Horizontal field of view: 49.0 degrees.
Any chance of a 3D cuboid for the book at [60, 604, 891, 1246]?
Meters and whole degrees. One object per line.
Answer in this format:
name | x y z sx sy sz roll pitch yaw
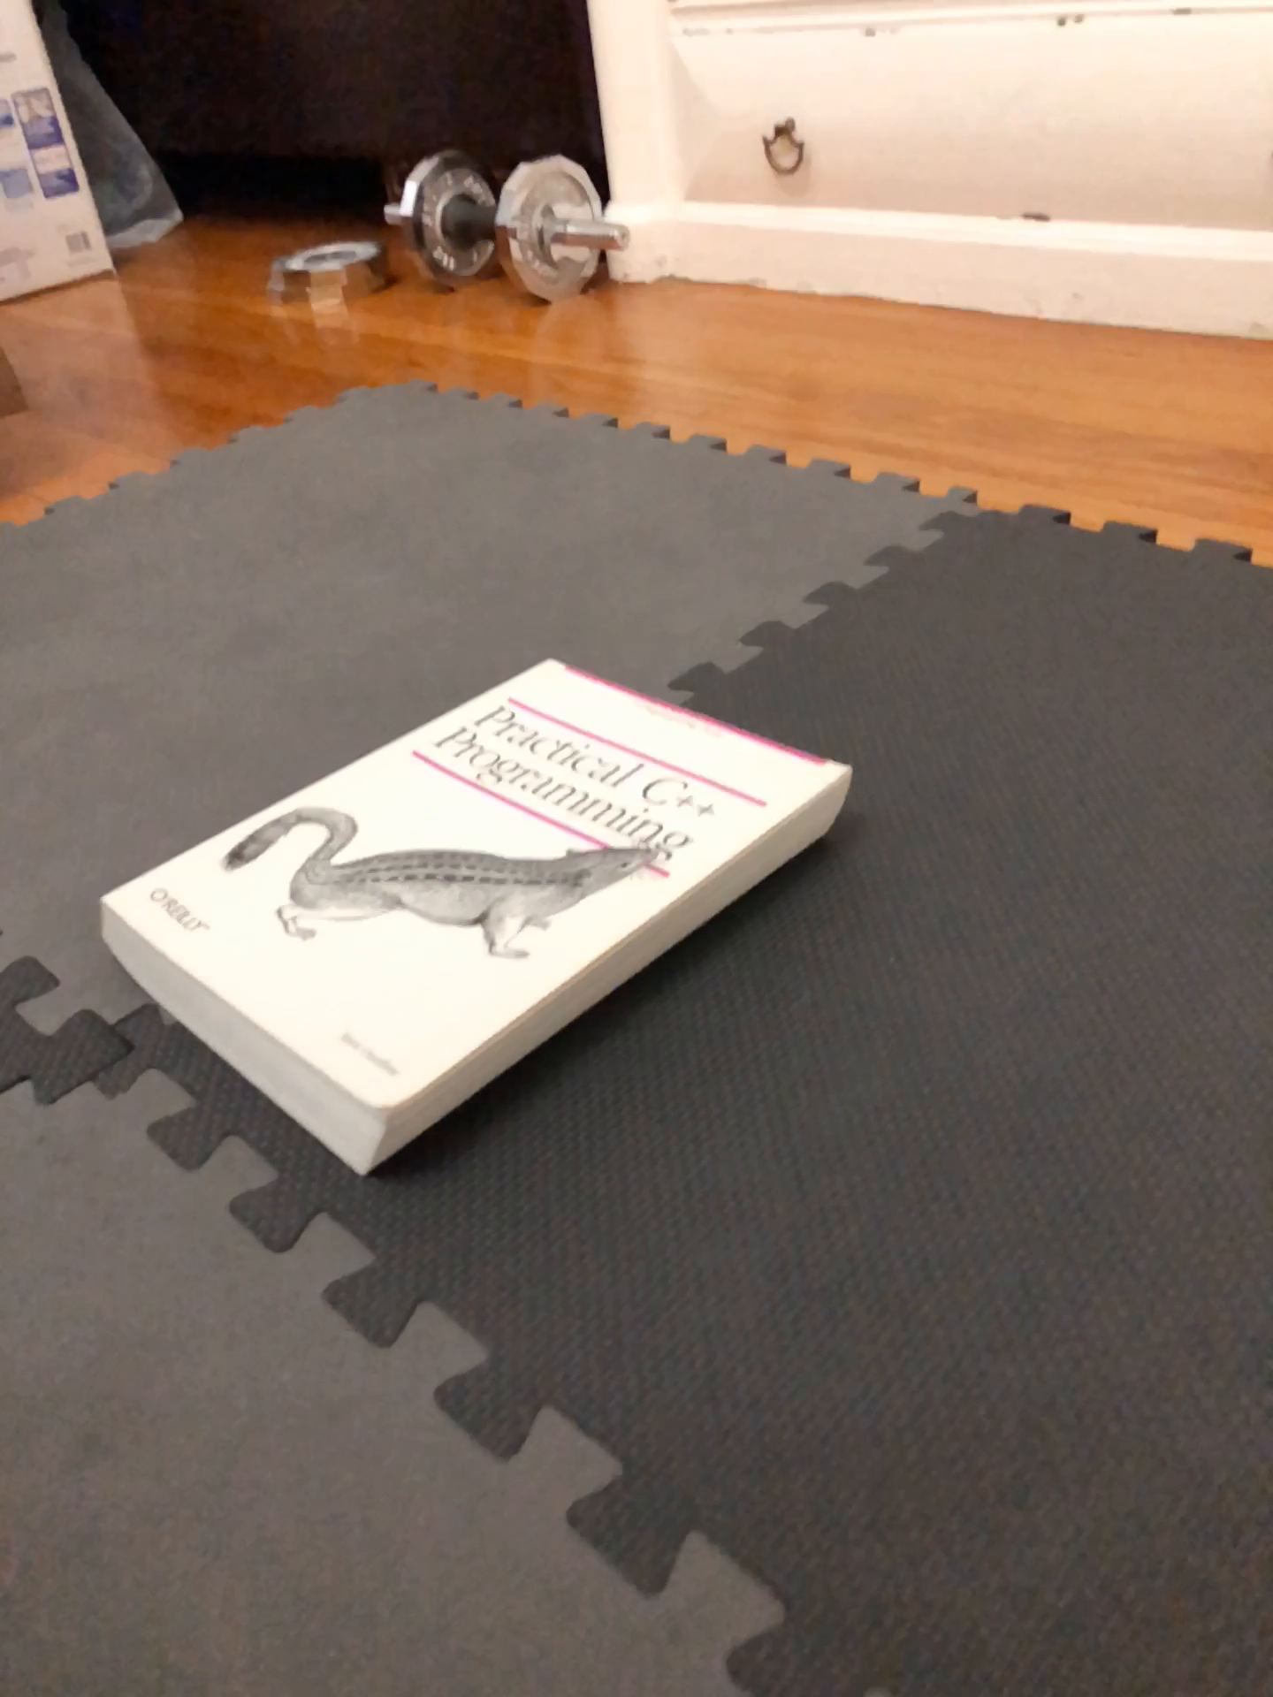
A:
book | -0.058 0.005 0.552 0.201 0.050 0.251 30 50 34
